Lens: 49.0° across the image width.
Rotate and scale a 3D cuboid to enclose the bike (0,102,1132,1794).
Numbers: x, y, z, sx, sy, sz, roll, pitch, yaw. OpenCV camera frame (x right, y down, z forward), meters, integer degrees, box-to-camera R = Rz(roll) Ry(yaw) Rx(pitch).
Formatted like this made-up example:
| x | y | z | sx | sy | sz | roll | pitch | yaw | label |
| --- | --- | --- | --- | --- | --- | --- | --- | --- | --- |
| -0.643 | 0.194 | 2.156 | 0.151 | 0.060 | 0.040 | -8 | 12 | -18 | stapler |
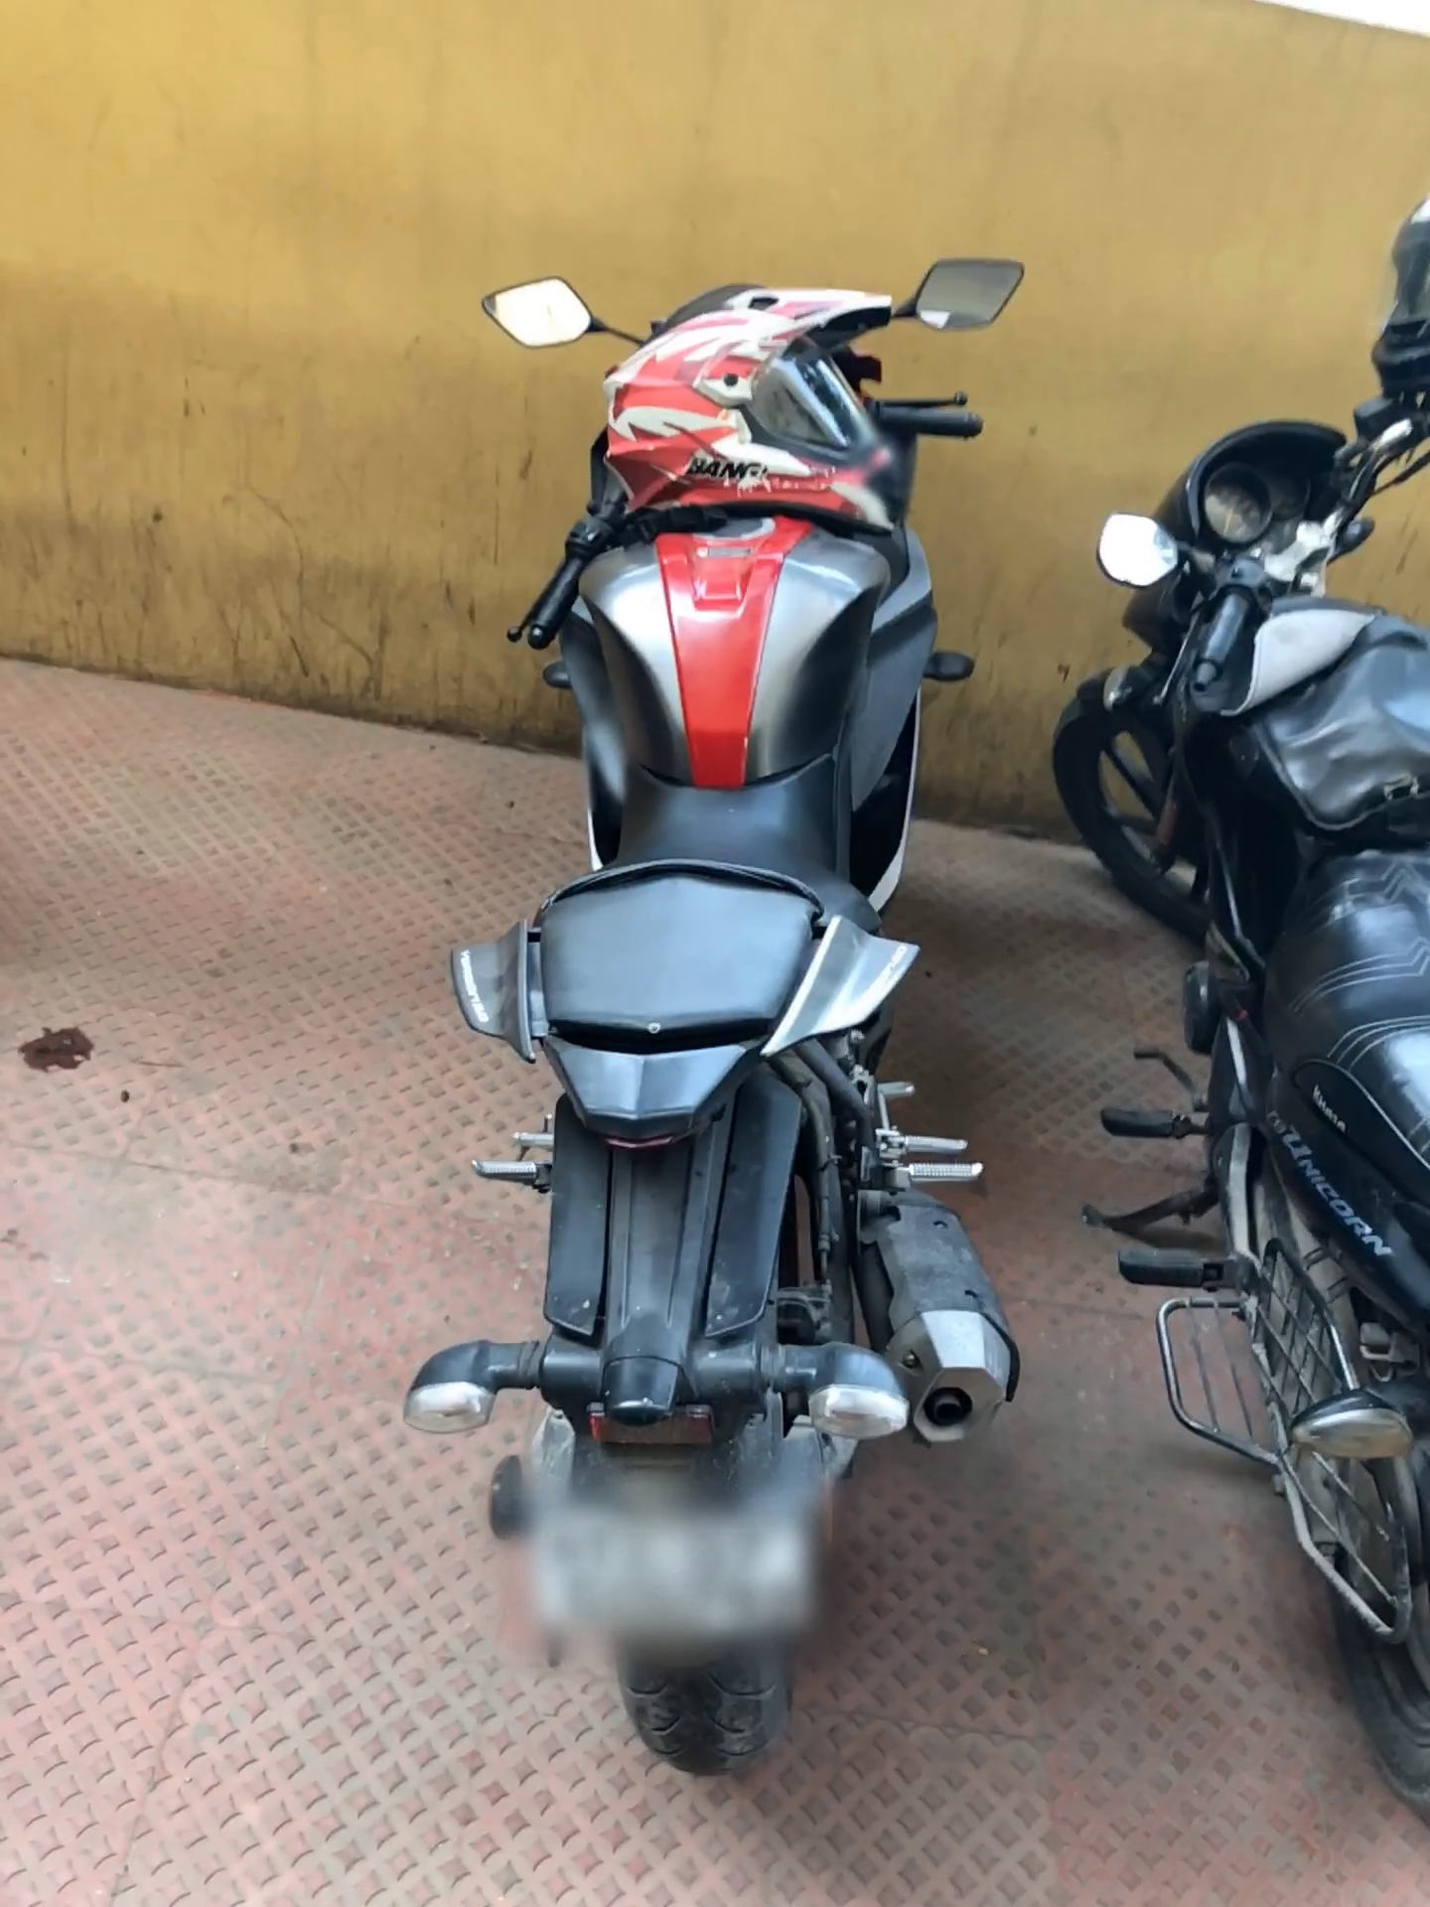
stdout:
| x | y | z | sx | sy | sz | roll | pitch | yaw | label |
| --- | --- | --- | --- | --- | --- | --- | --- | --- | --- |
| -0.232 | -0.198 | 1.855 | 0.725 | 0.870 | 1.755 | 5 | 42 | -8 | bike |
